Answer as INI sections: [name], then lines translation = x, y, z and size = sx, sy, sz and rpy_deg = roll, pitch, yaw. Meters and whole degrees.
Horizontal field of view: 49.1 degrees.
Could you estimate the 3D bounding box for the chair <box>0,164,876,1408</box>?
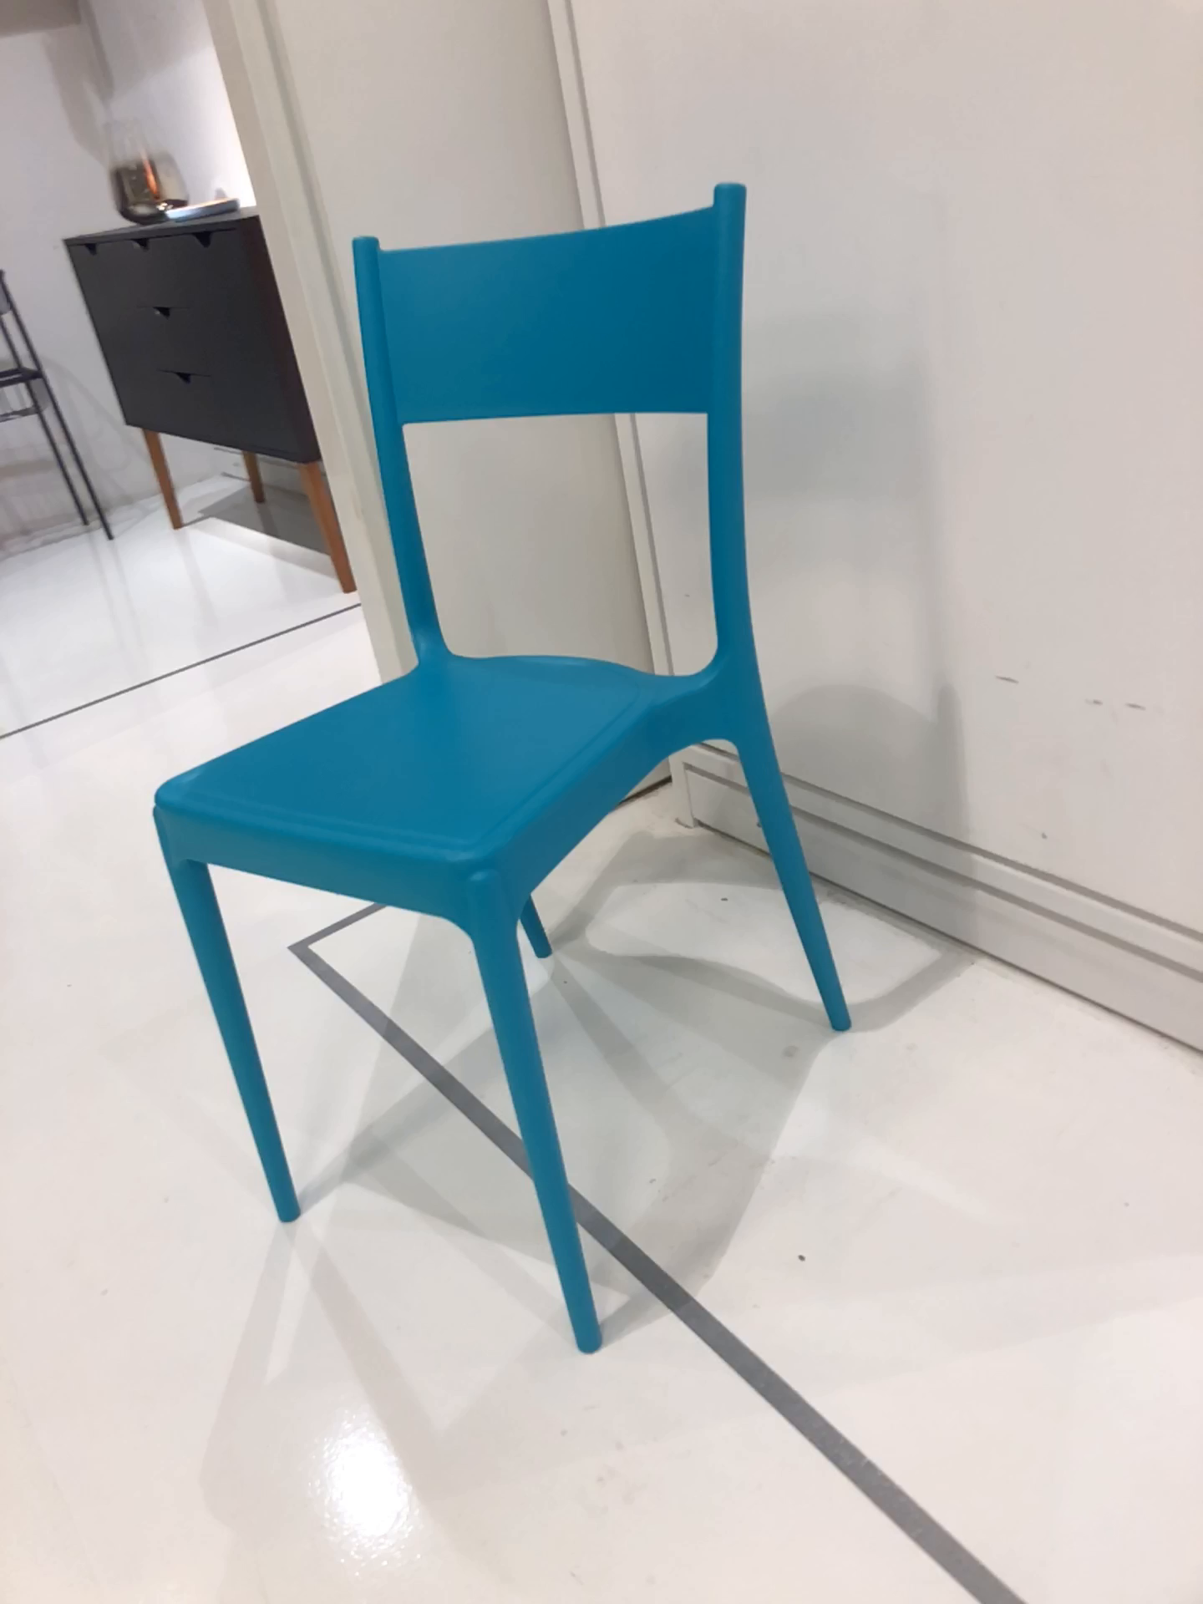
[chair]
translation = -0.108, -0.044, 1.117
size = 0.431, 0.794, 0.513
rpy_deg = 9, 32, 36
